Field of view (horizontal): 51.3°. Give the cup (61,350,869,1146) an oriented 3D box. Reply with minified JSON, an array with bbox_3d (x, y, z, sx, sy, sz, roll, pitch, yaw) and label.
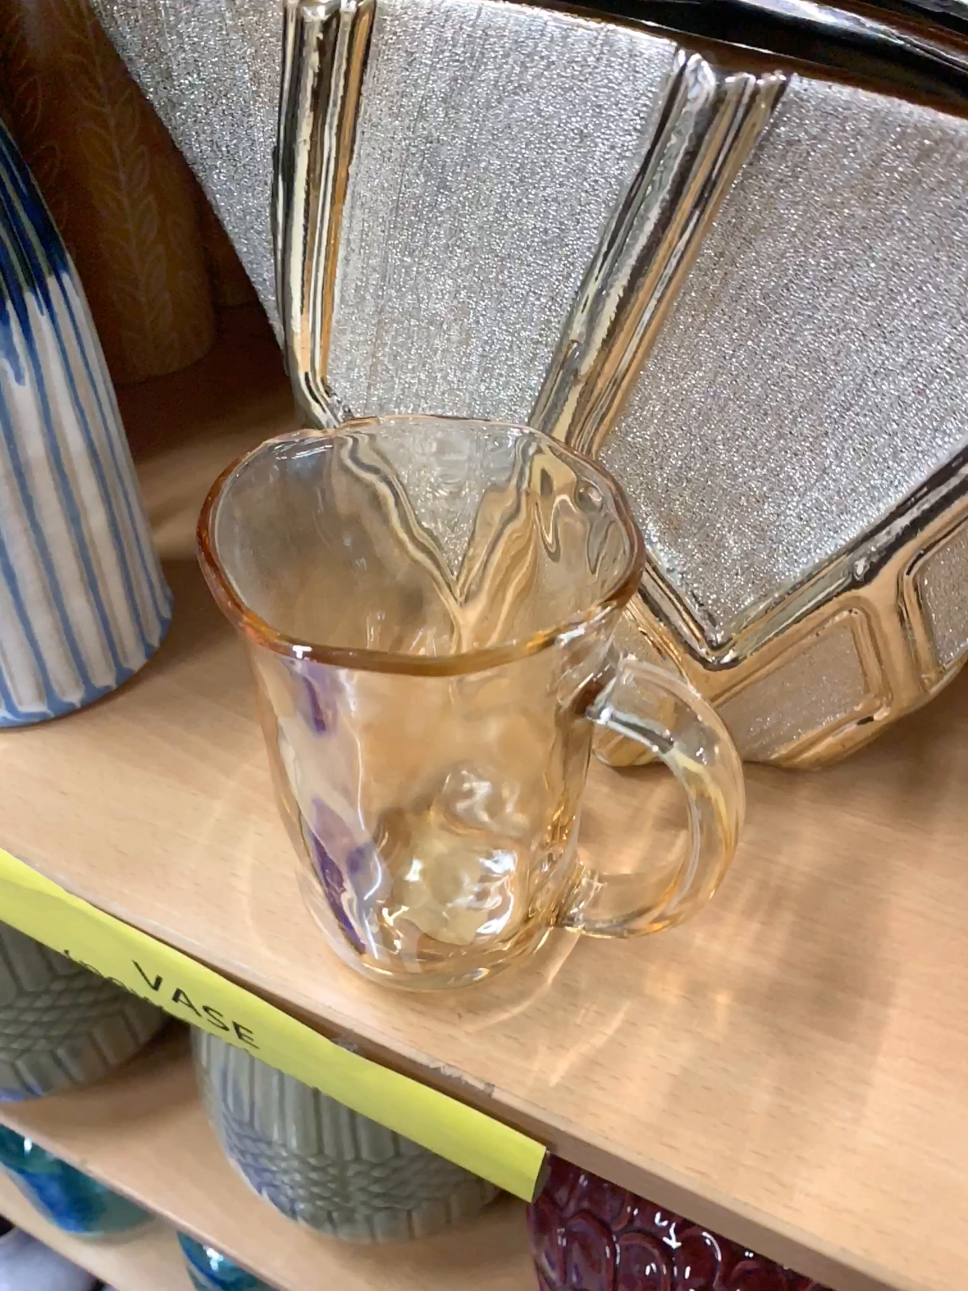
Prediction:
[{"bbox_3d":[0.000,0.015,0.201,0.110,0.100,0.080,19,45,20],"label":"cup"}]
